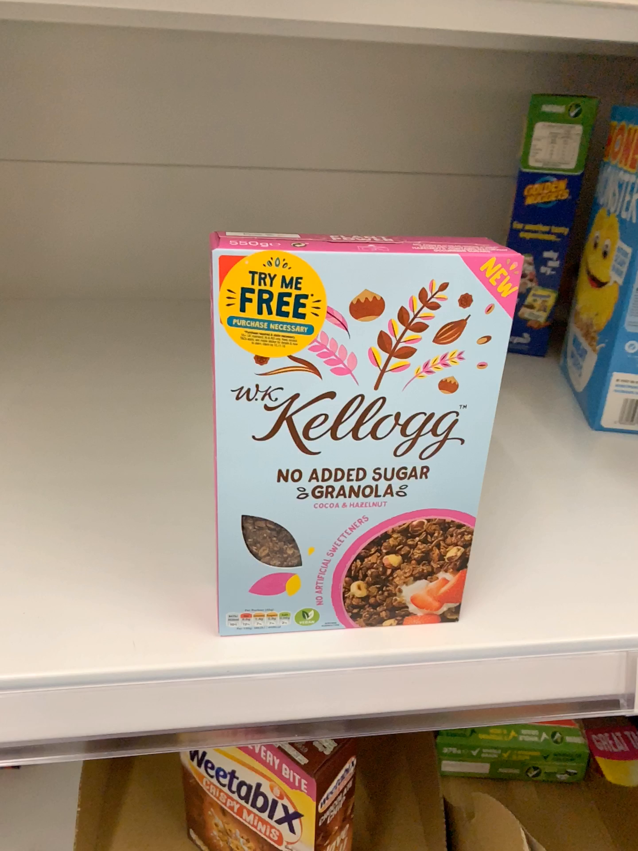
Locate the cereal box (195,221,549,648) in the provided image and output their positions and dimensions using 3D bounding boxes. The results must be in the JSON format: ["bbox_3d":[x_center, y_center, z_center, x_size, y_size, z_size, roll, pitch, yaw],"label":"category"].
[{"bbox_3d":[0.019,0.014,0.387,0.170,0.248,0.050,-1,27,-8],"label":"cereal box"}]
